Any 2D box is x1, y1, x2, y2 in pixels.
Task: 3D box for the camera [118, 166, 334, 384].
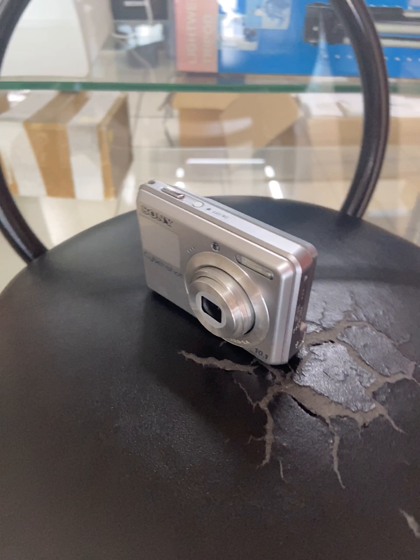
[{"bbox_3d":[0.003,-0.006,0.193,0.083,0.057,0.035,29,47,31],"label":"camera"}]
